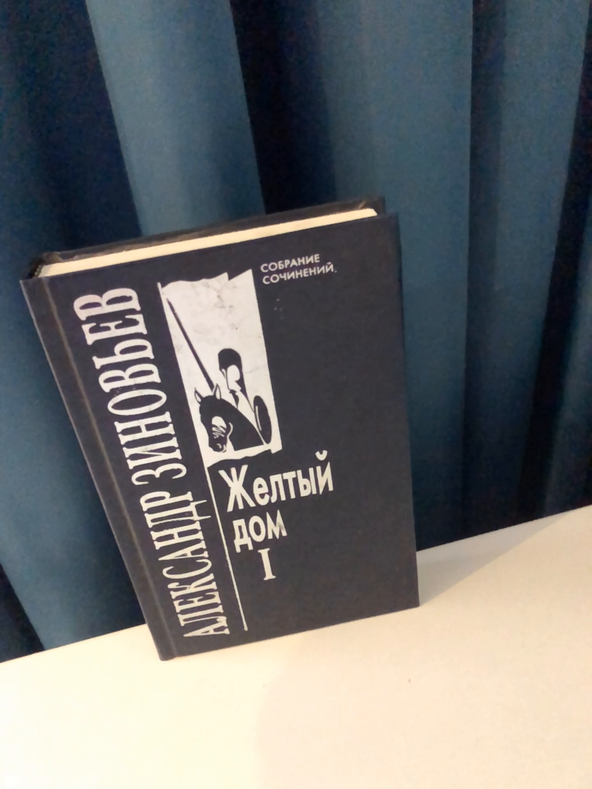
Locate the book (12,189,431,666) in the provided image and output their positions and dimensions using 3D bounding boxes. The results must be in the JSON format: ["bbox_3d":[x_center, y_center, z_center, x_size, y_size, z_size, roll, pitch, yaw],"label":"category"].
[{"bbox_3d":[-0.015,0.029,0.294,0.140,0.210,0.033,-11,32,-3],"label":"book"}]
